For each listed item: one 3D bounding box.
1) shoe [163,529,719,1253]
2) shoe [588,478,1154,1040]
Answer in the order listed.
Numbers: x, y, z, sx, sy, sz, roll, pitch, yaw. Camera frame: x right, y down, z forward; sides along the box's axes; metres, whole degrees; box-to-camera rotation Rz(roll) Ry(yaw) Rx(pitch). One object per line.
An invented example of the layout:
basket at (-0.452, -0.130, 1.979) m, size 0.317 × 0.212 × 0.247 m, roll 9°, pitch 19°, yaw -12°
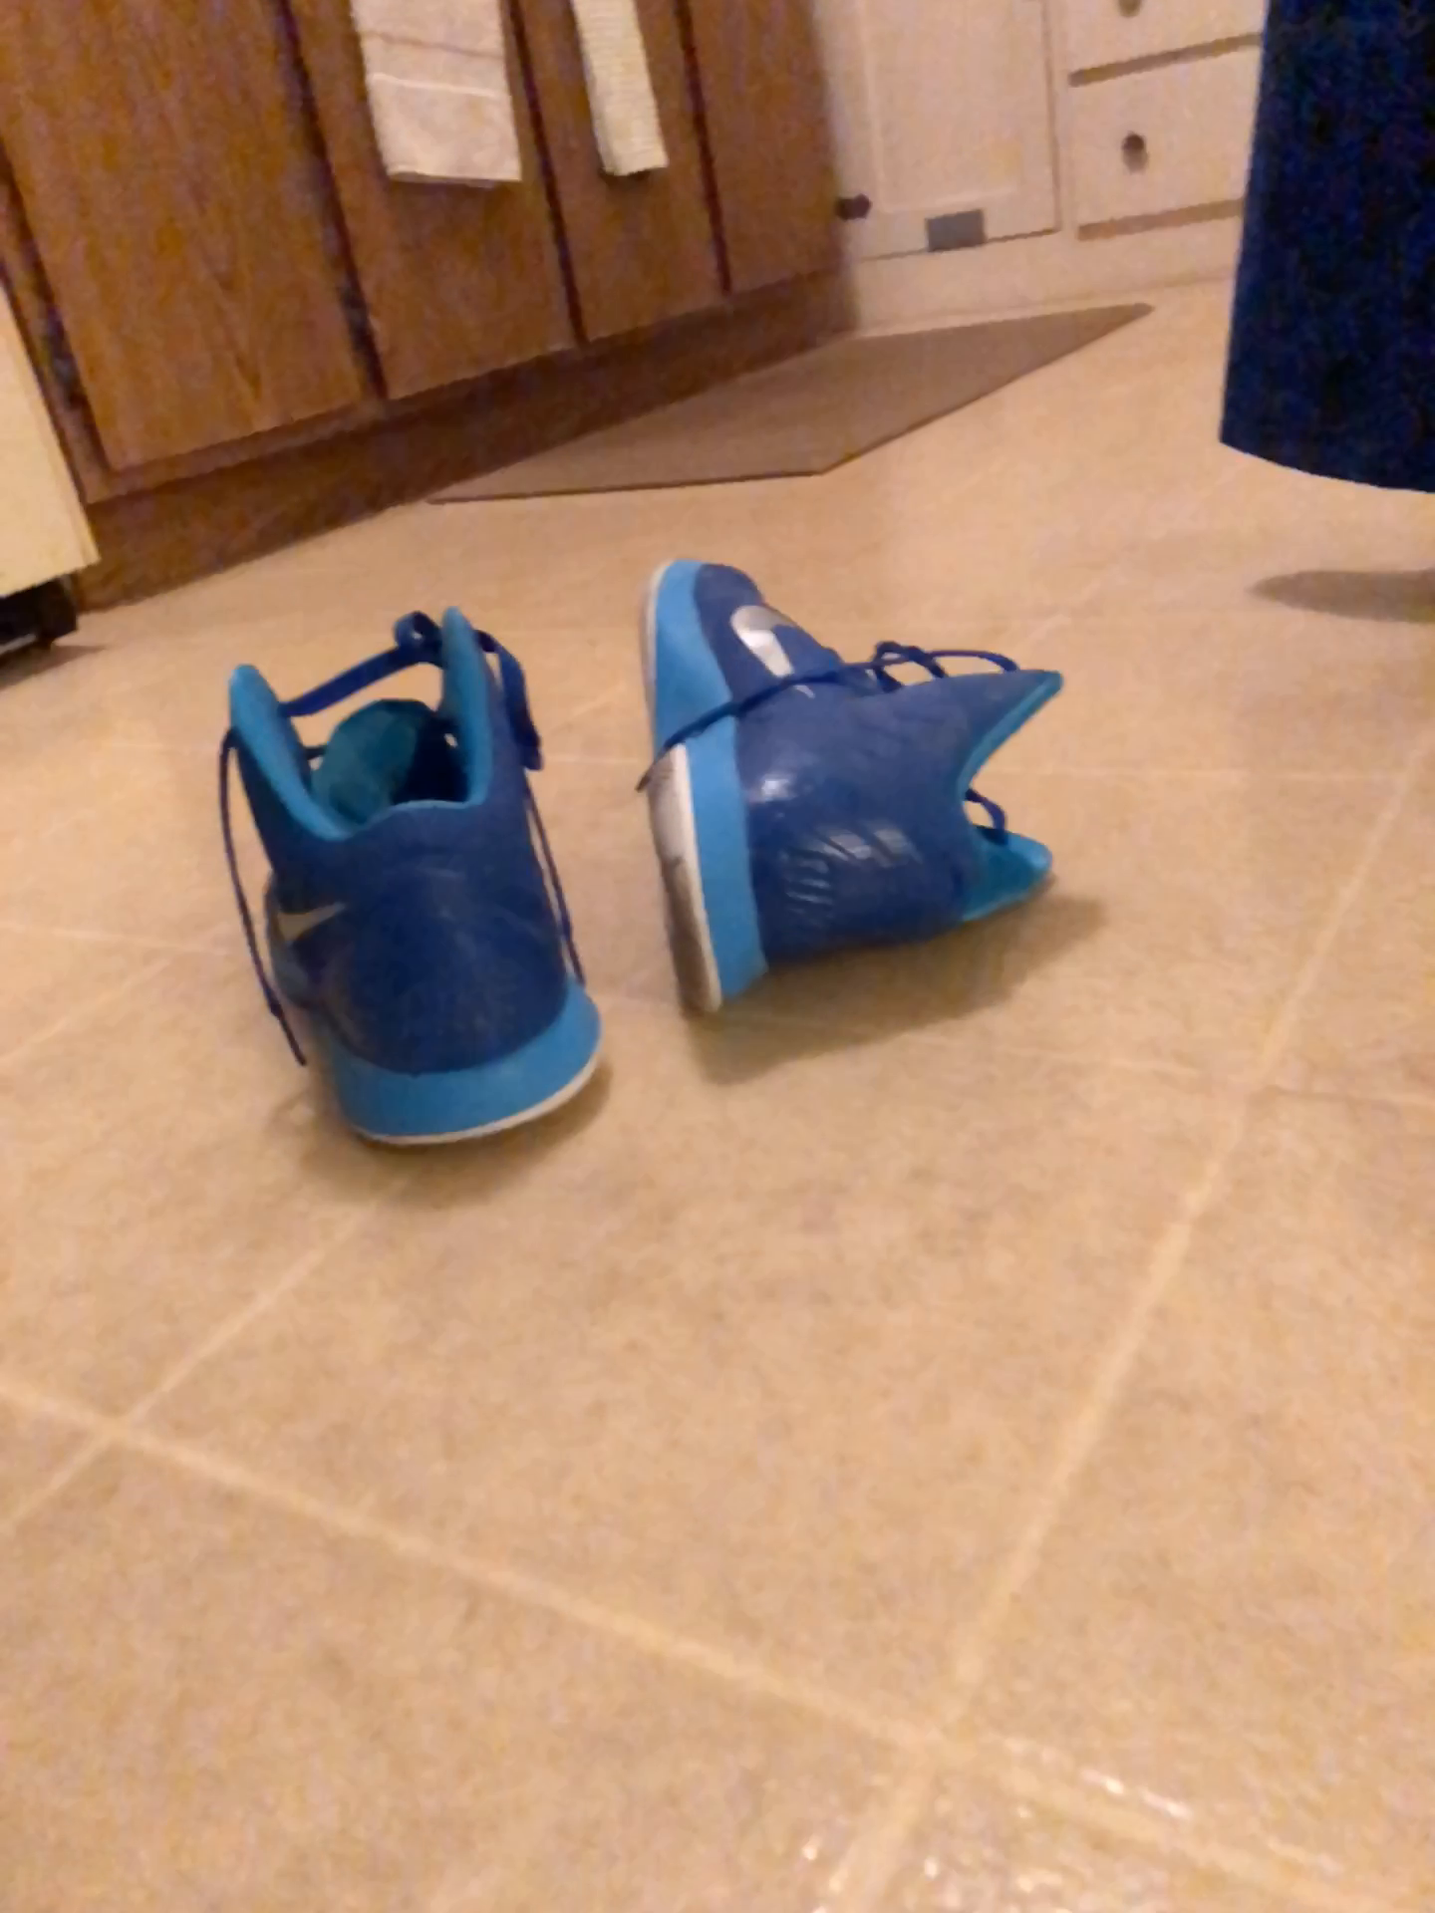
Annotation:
shoe at (-0.118, -0.051, 0.578) m, size 0.120 × 0.144 × 0.312 m, roll -18°, pitch 26°, yaw -12°
shoe at (0.041, -0.096, 0.614) m, size 0.159 × 0.119 × 0.283 m, roll -7°, pitch 25°, yaw -3°
